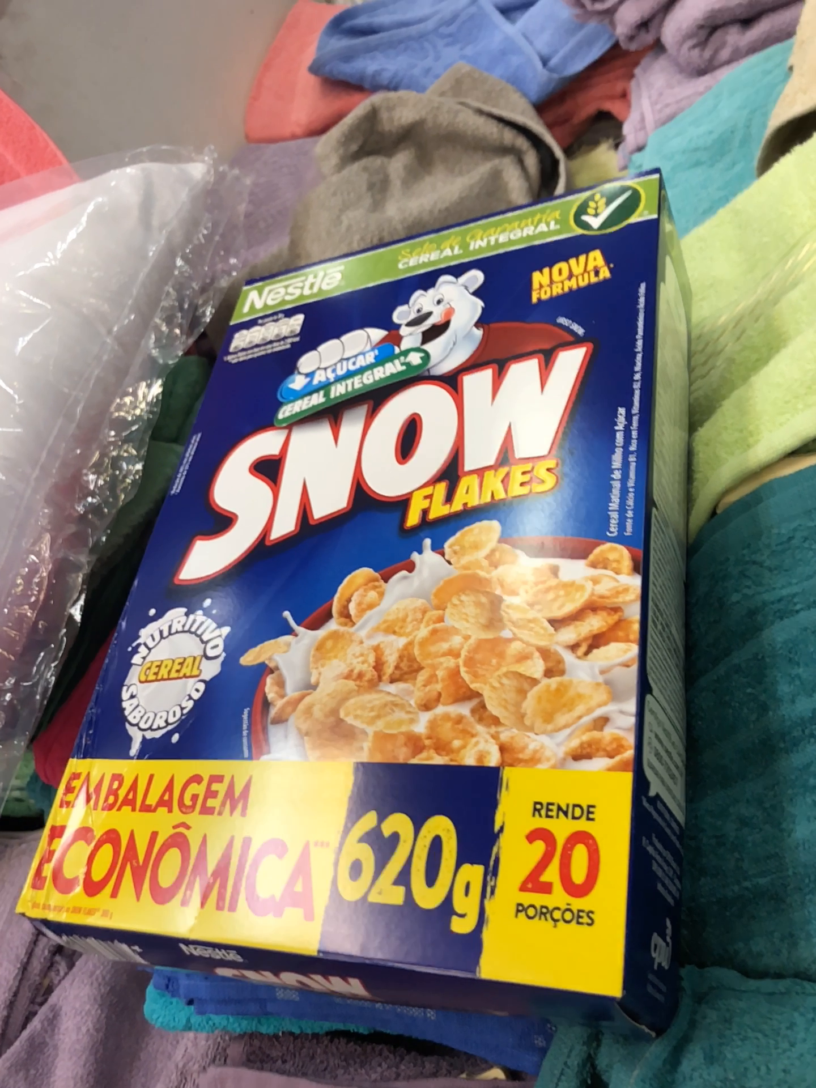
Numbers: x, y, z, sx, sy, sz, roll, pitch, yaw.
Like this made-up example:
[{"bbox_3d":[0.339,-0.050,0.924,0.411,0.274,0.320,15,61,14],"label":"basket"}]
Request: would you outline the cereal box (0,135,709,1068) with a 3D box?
[{"bbox_3d":[-0.010,0.002,0.340,0.221,0.070,0.301,-7,54,29],"label":"cereal box"}]
